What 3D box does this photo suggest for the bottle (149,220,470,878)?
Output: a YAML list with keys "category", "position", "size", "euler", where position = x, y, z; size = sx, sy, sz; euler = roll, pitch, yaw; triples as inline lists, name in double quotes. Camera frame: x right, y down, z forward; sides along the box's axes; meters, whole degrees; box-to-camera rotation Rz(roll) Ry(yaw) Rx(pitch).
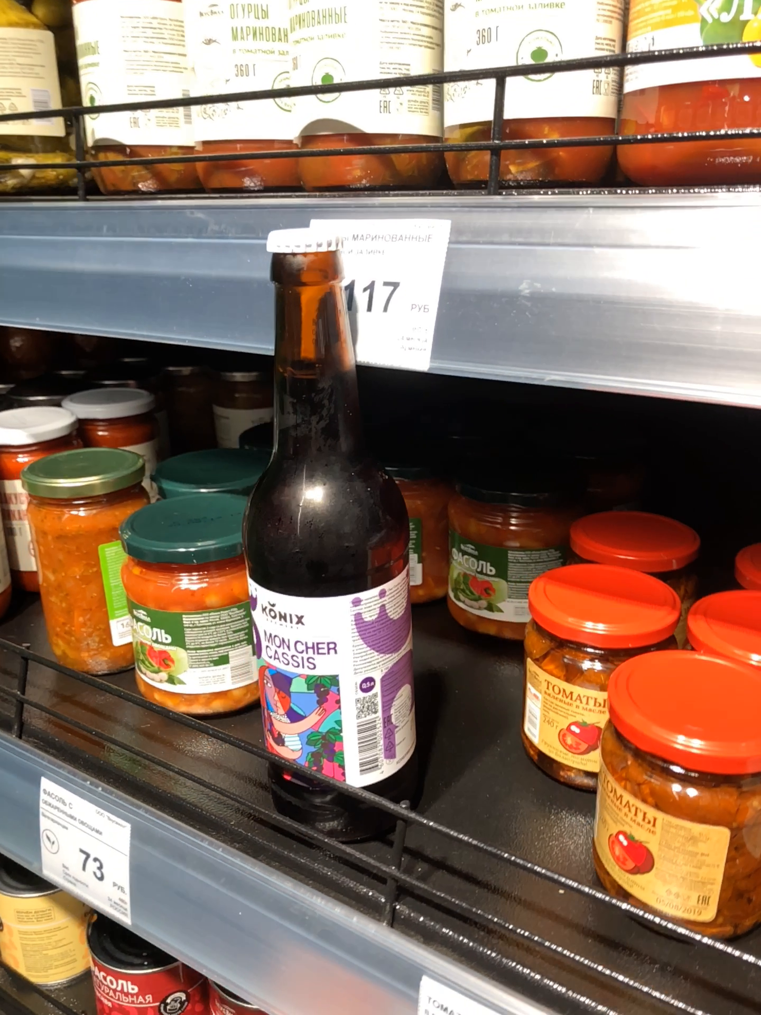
- category: "bottle"
  position: [-0.020, 0.013, 0.339]
  size: [0.080, 0.239, 0.080]
  euler: [-2, 21, 1]
